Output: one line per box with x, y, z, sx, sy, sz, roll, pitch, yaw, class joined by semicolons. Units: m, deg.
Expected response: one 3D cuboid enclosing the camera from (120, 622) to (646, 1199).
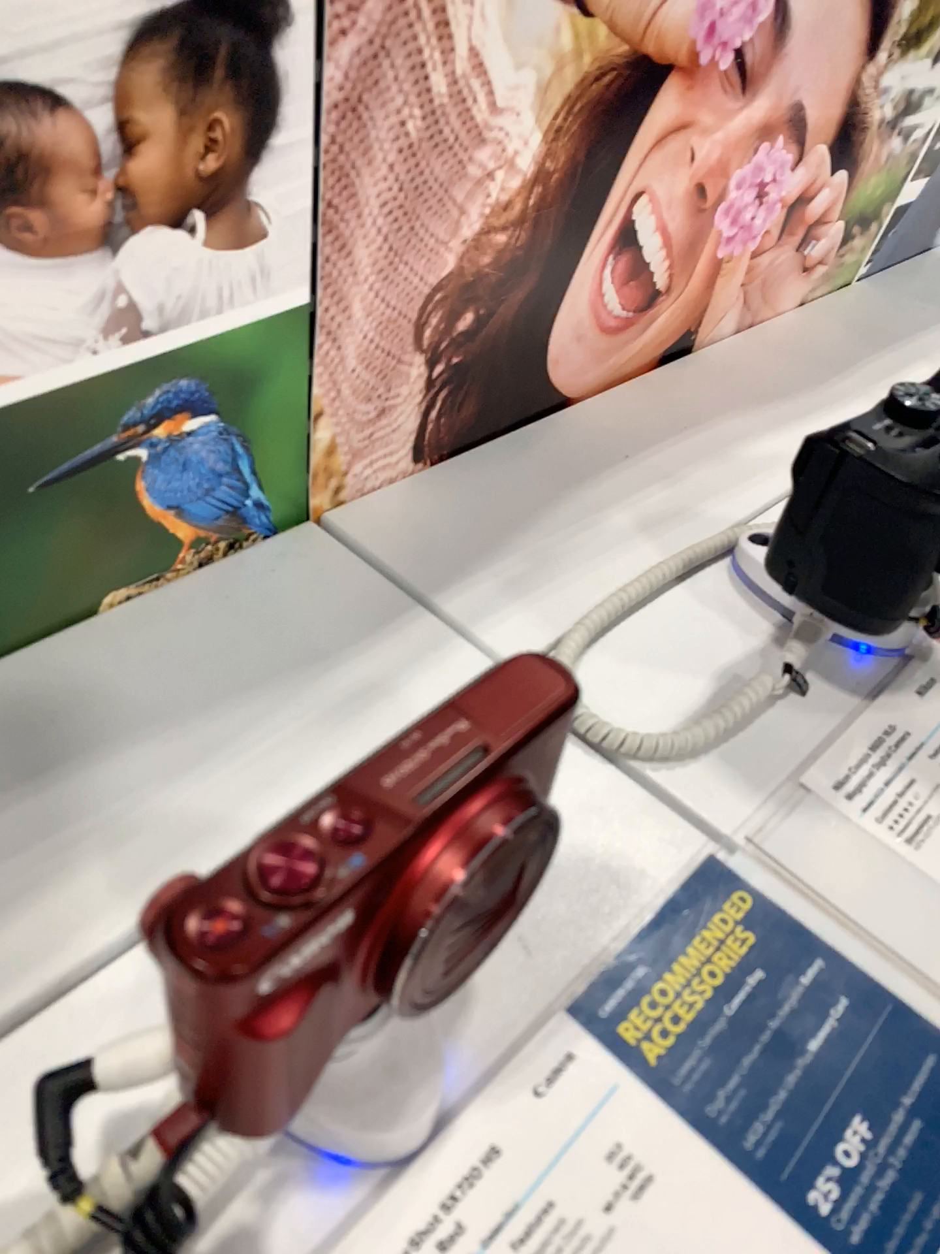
-0.014;0.054;0.208;0.037;0.060;0.110;33;45;26;camera
